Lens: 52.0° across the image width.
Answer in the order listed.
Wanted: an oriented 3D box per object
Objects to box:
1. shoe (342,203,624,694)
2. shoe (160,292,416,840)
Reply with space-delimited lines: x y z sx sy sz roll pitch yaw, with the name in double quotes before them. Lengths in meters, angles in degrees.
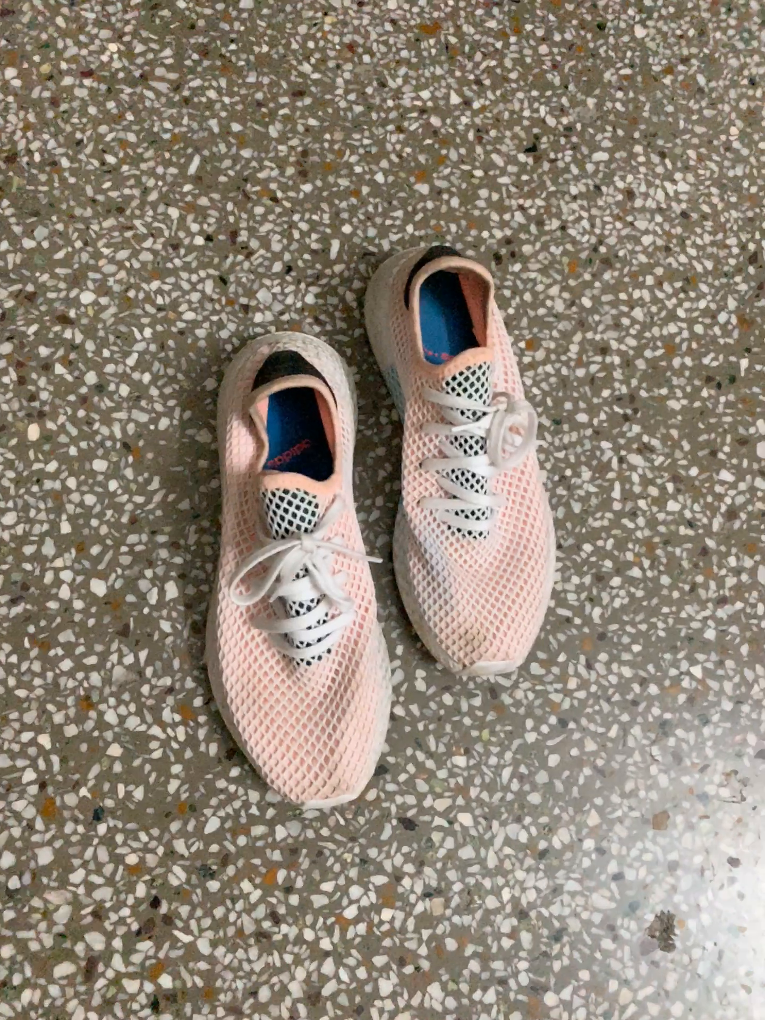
"shoe" 0.056 -0.040 0.541 0.122 0.100 0.310 -7 78 -8
"shoe" -0.064 0.030 0.502 0.122 0.100 0.310 -5 78 -7
